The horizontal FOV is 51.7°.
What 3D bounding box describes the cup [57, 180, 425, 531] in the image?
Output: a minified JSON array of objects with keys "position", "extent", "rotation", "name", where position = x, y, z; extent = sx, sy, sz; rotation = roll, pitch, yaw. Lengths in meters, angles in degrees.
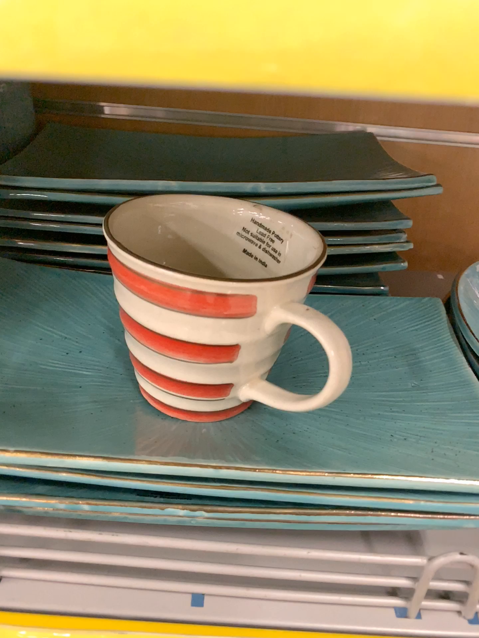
[{"position":[-0.007,0.001,0.239],"extent":[0.100,0.090,0.130],"rotation":[-22,42,-39],"name":"cup"}]
